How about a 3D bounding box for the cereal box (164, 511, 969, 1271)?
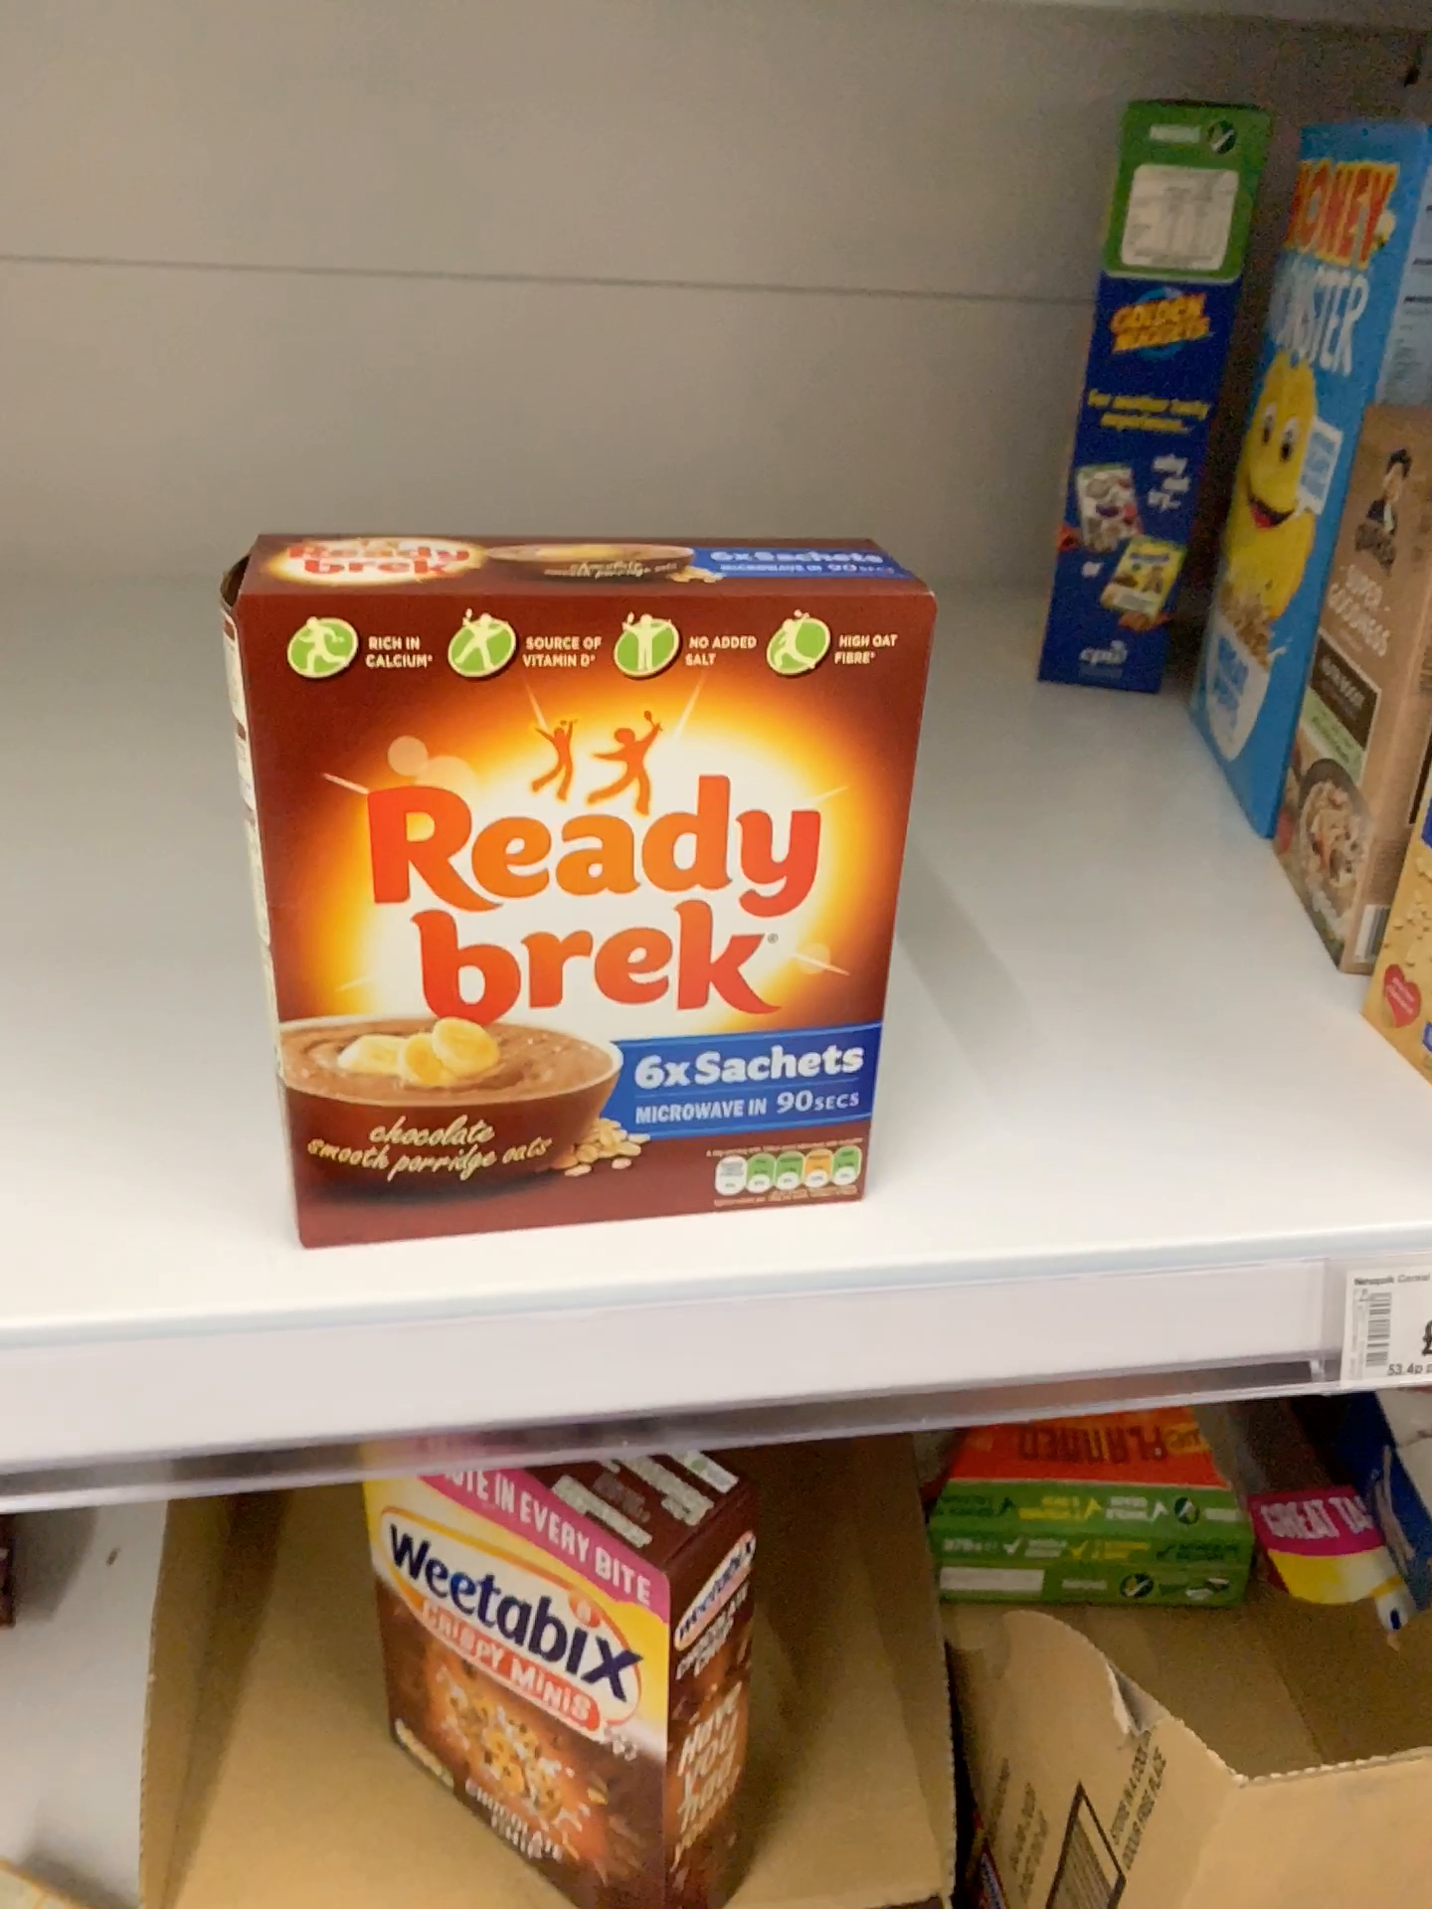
[{"bbox_3d":[-0.039,-0.016,0.400,0.180,0.188,0.061,-3,29,-11],"label":"cereal box"}]
